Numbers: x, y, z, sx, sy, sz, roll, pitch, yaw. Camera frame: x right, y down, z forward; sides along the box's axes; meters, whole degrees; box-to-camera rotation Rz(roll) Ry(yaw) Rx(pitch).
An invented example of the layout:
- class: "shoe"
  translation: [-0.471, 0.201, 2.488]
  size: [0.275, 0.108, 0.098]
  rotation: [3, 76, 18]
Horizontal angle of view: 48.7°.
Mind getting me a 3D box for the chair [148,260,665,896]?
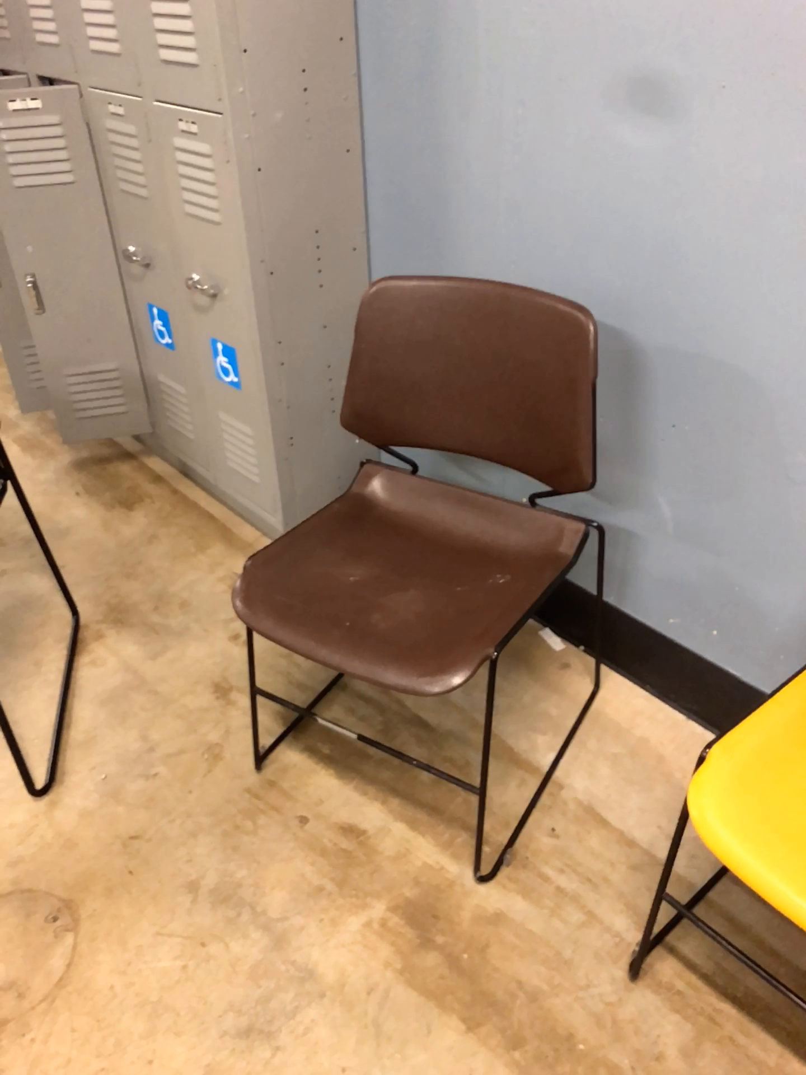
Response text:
- class: "chair"
  translation: [0.040, 0.031, 1.454]
  size: [0.516, 0.750, 0.547]
  rotation: [17, 39, 27]
